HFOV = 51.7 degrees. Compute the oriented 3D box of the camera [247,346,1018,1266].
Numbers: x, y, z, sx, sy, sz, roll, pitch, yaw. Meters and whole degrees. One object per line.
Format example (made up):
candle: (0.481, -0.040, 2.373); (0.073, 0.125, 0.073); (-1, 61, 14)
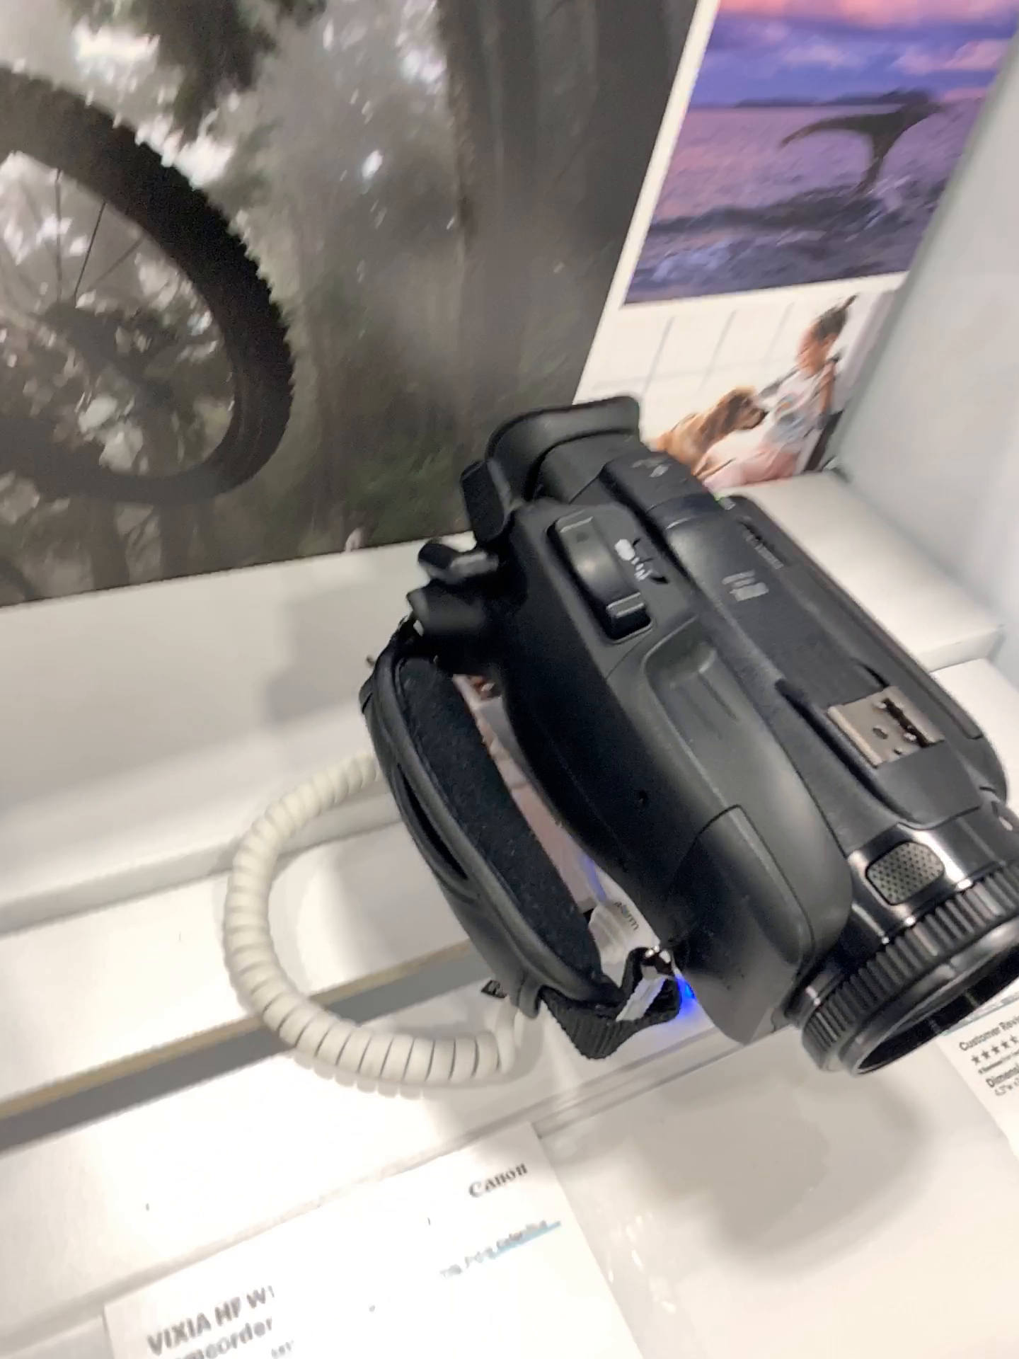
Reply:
camera: (0.033, 0.004, 0.262); (0.132, 0.069, 0.201); (-15, 51, -28)
